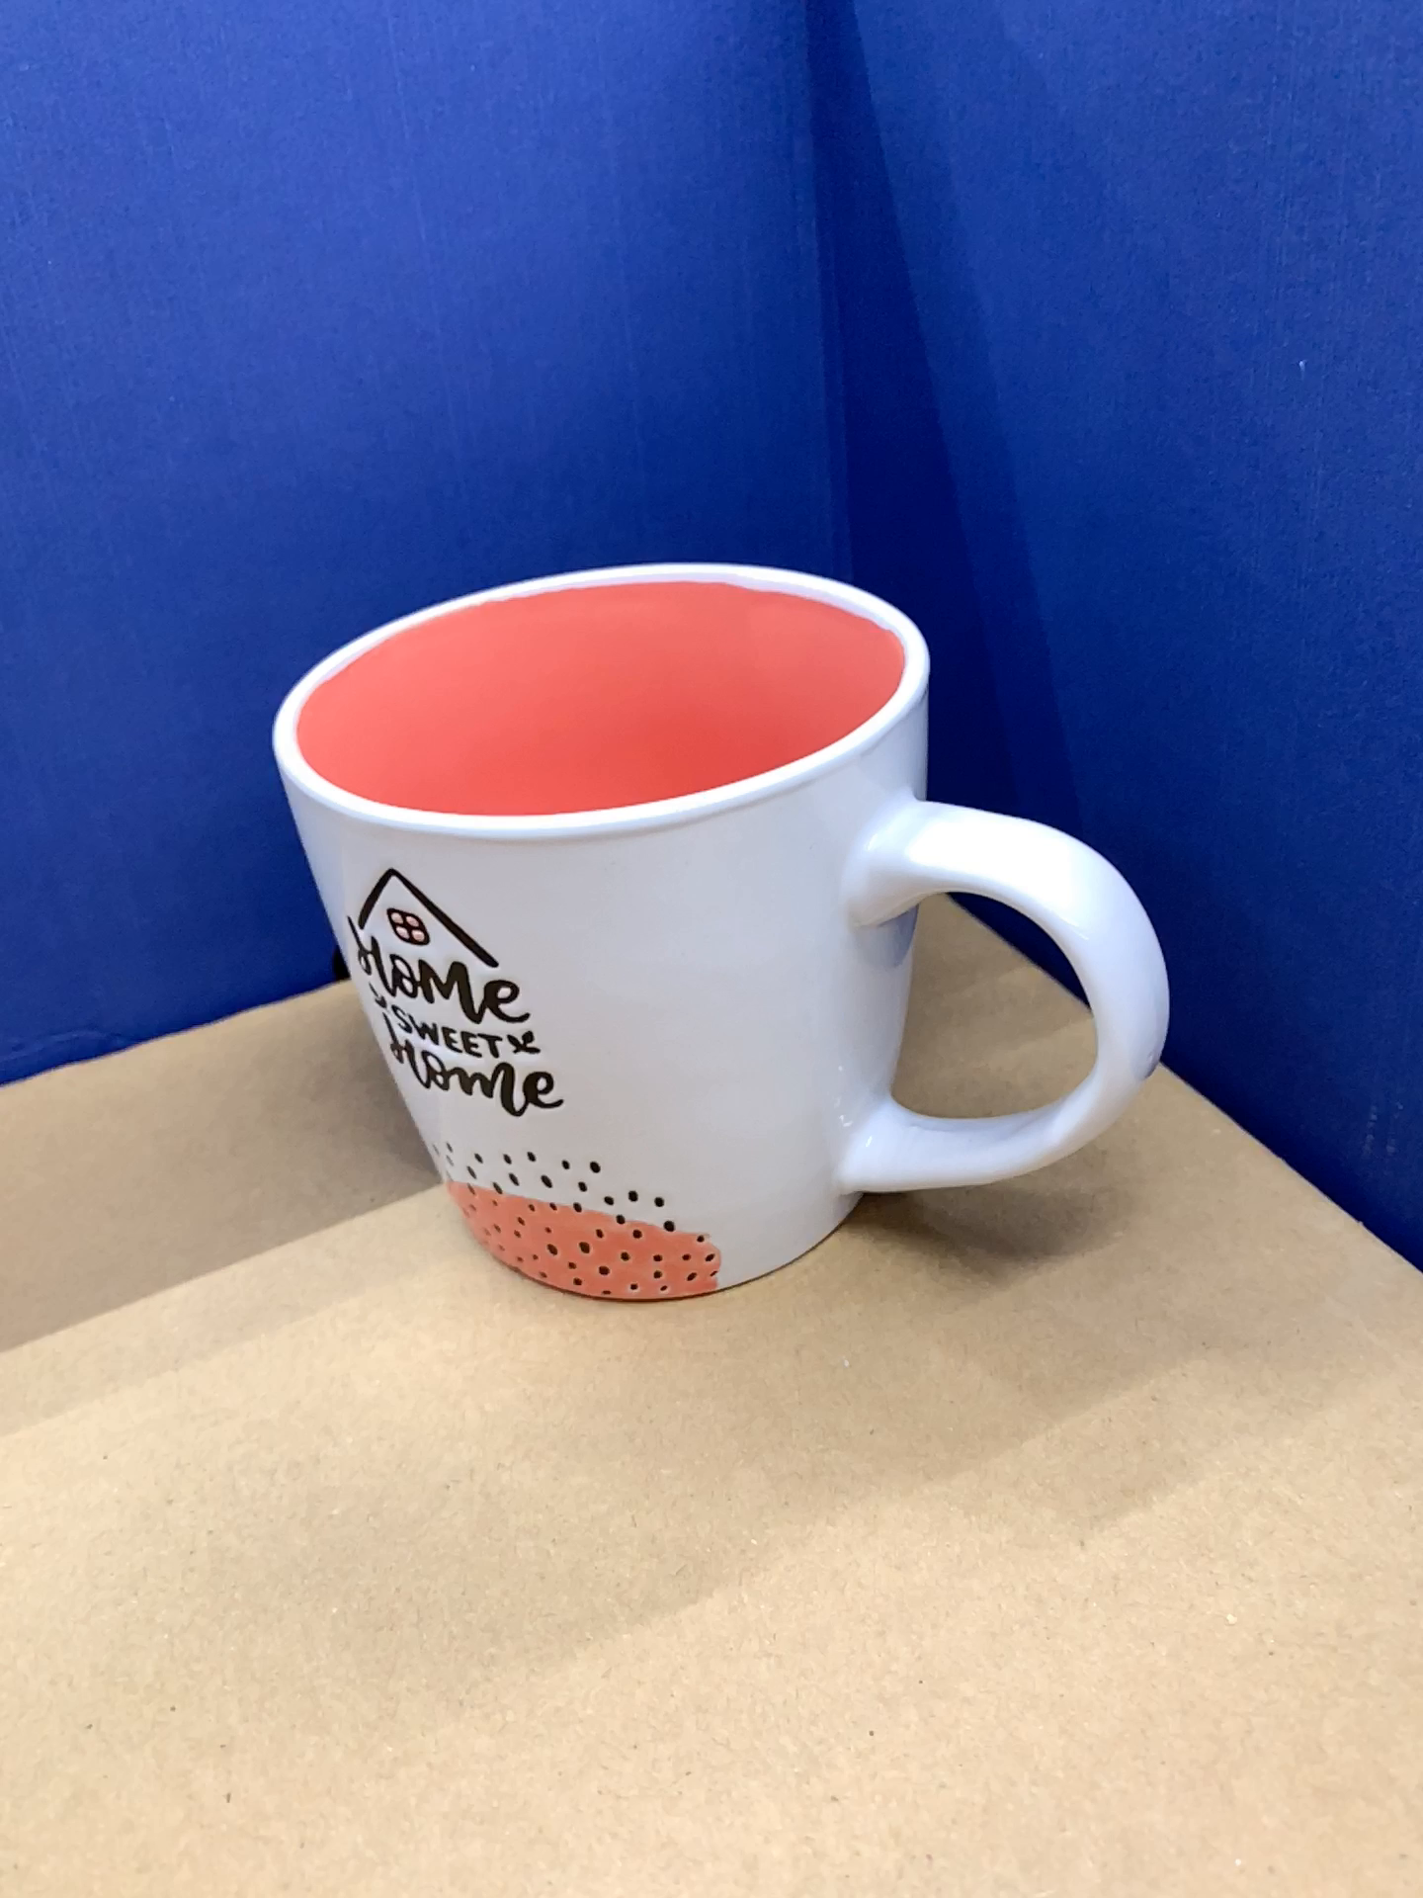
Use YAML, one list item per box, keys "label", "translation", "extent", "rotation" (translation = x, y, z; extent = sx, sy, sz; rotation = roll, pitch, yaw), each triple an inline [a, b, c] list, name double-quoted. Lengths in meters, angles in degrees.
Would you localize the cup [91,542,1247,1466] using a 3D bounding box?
- label: "cup"
  translation: [0.000, -0.005, 0.198]
  extent: [0.115, 0.070, 0.083]
  rotation: [11, 34, 27]
